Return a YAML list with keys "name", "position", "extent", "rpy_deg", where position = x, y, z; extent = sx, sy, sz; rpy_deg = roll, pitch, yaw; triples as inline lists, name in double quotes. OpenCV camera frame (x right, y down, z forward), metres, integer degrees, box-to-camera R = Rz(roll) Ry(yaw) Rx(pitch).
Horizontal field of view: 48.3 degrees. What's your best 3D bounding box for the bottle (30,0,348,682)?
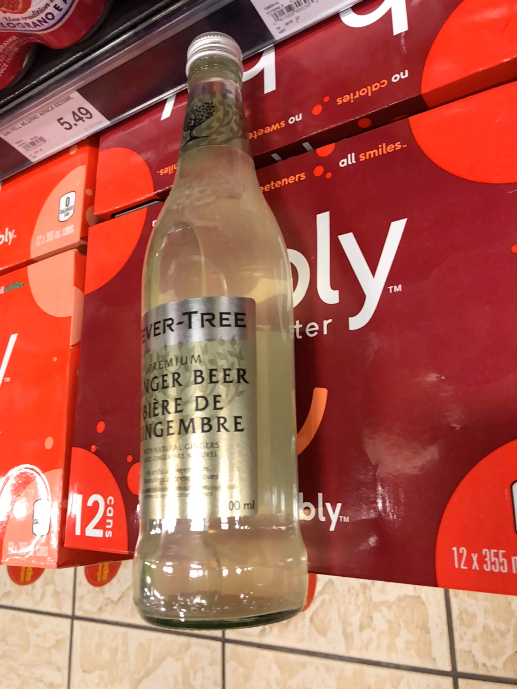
- name: "bottle"
  position: [-0.031, -0.023, 0.243]
  extent: [0.080, 0.080, 0.270]
  rpy_deg: [-14, 71, 31]
